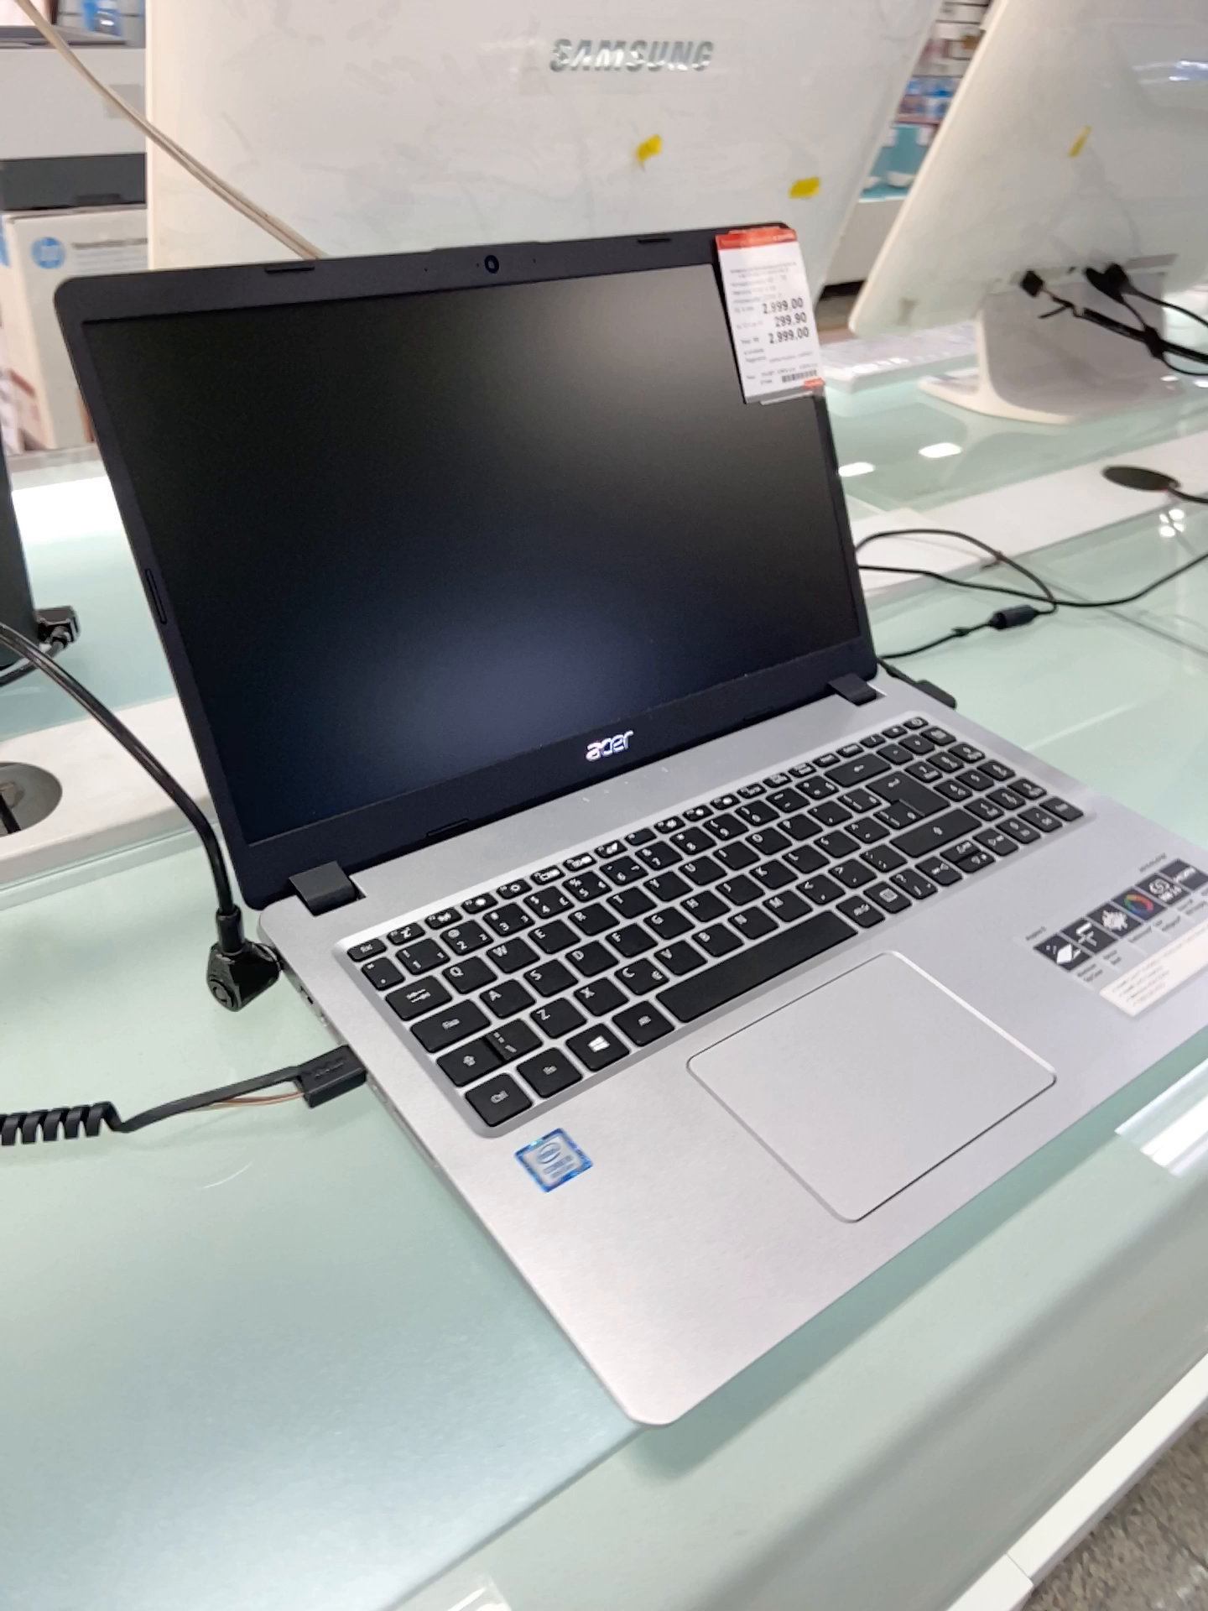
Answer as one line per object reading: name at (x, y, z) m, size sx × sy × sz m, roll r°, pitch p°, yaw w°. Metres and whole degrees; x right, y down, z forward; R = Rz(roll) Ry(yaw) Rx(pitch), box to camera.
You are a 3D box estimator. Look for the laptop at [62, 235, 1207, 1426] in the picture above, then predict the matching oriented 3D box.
laptop at (0.054, -0.066, 0.480) m, size 0.366 × 0.204 × 0.365 m, roll -21°, pitch 41°, yaw -32°
